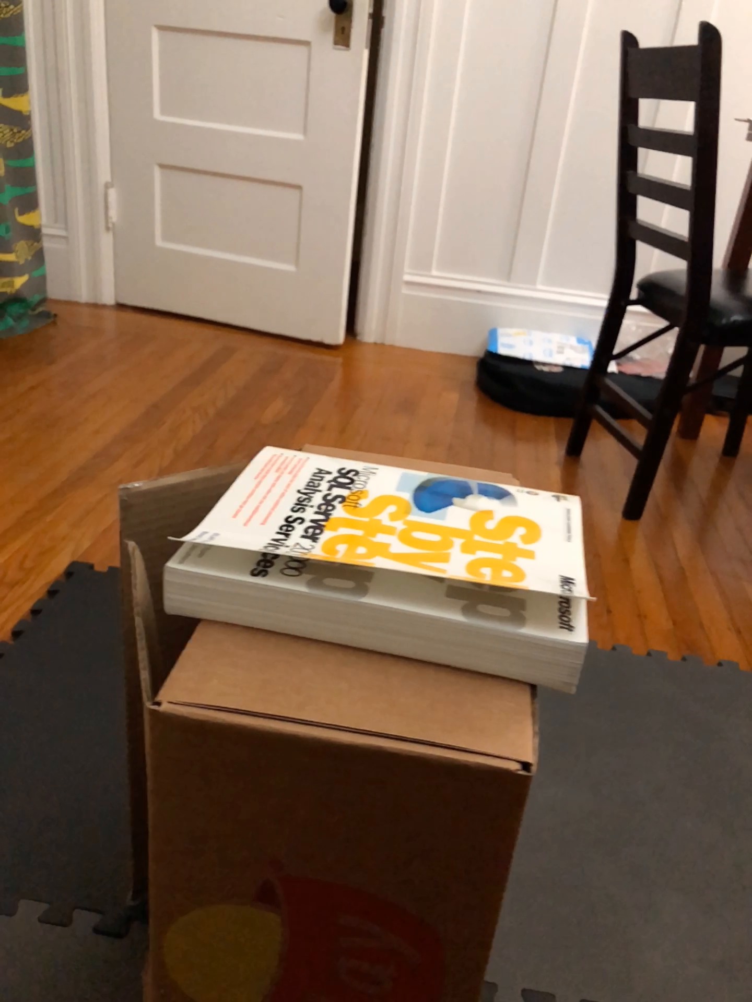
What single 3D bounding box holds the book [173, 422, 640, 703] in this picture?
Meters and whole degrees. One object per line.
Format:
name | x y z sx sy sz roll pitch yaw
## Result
book | 0.023 0.025 0.524 0.240 0.050 0.201 6 29 4
